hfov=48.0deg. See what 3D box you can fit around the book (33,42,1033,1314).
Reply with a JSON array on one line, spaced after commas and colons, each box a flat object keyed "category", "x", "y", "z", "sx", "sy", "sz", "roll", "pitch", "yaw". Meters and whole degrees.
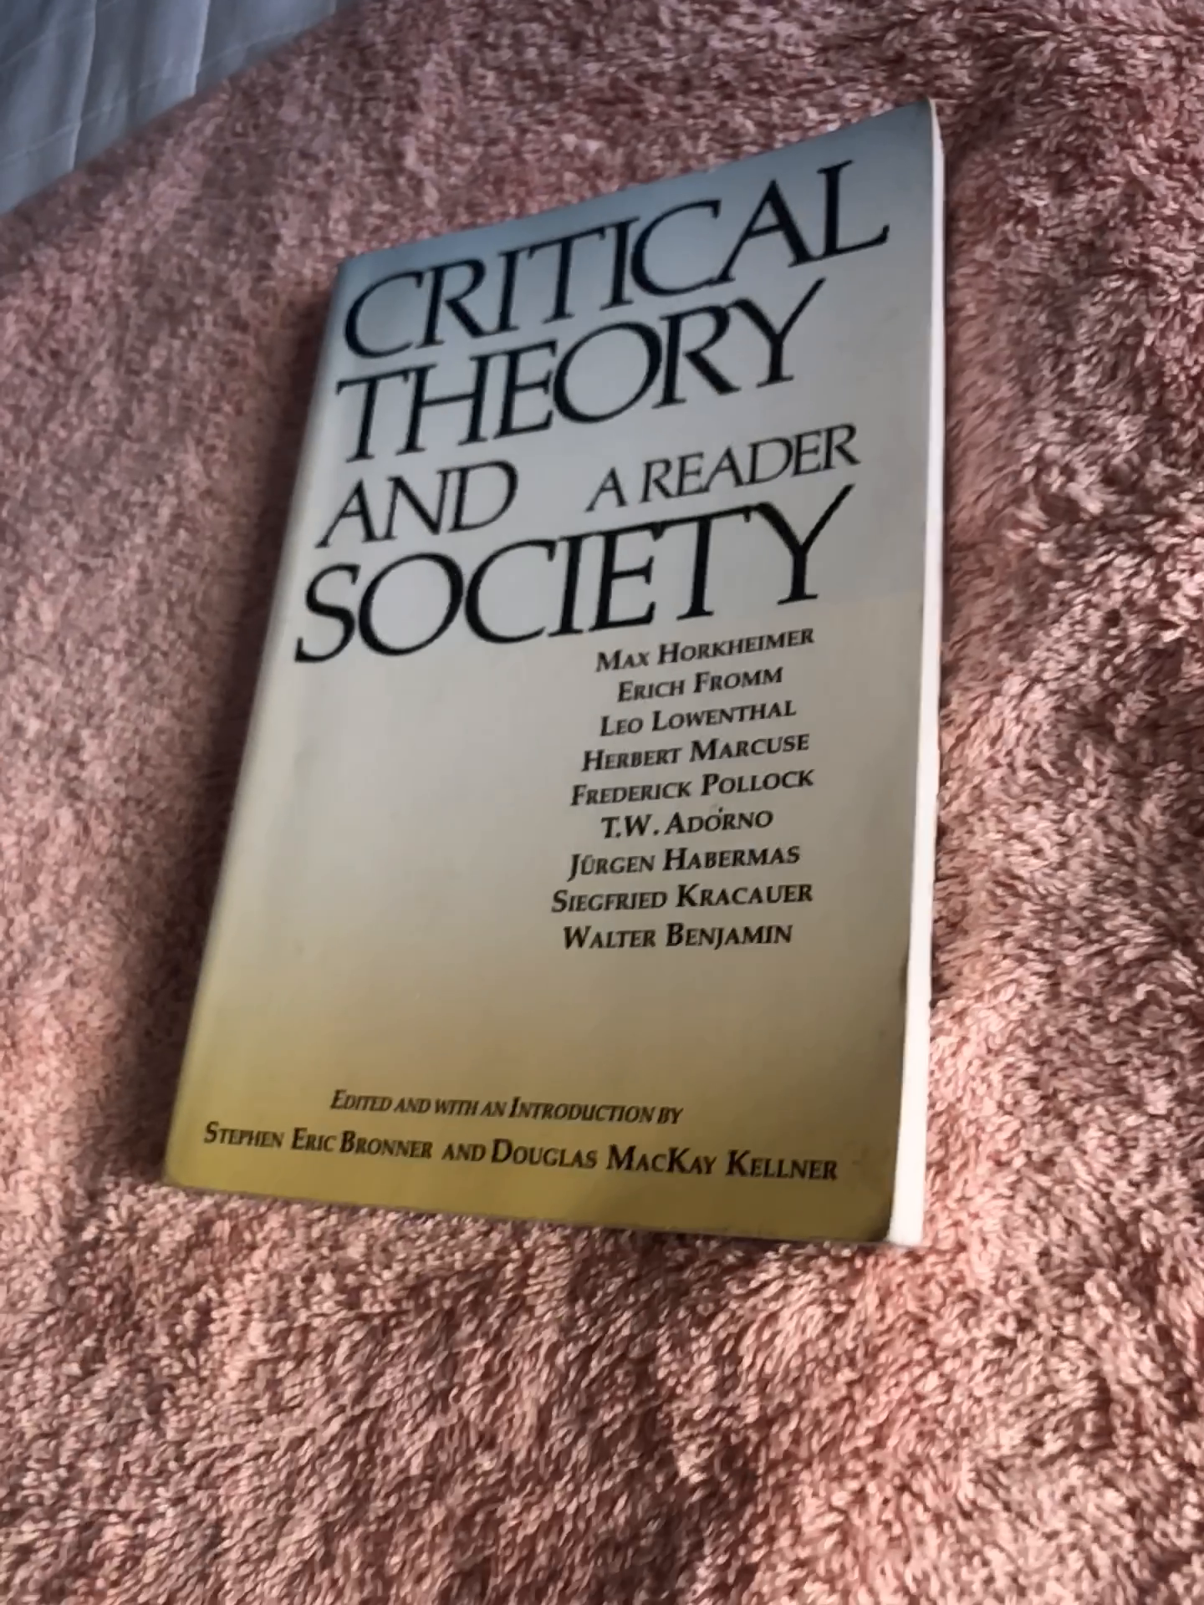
[{"category": "book", "x": -0.004, "y": -0.029, "z": 0.277, "sx": 0.170, "sy": 0.050, "sz": 0.230, "roll": -2, "pitch": 68, "yaw": 23}]
